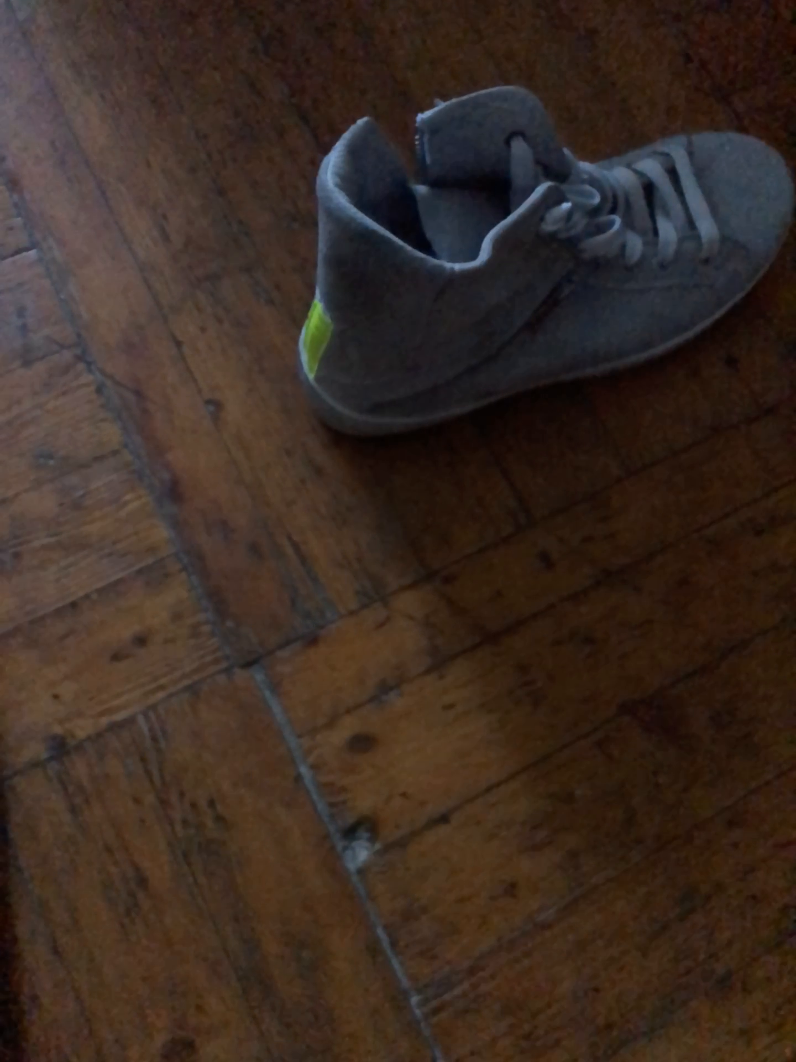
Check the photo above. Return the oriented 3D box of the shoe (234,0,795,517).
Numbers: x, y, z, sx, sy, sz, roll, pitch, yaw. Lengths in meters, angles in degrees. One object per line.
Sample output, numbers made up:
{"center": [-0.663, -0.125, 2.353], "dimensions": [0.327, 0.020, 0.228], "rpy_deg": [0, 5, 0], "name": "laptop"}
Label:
{"center": [0.095, -0.142, 0.435], "dimensions": [0.310, 0.220, 0.130], "rpy_deg": [-21, 83, -12], "name": "shoe"}
